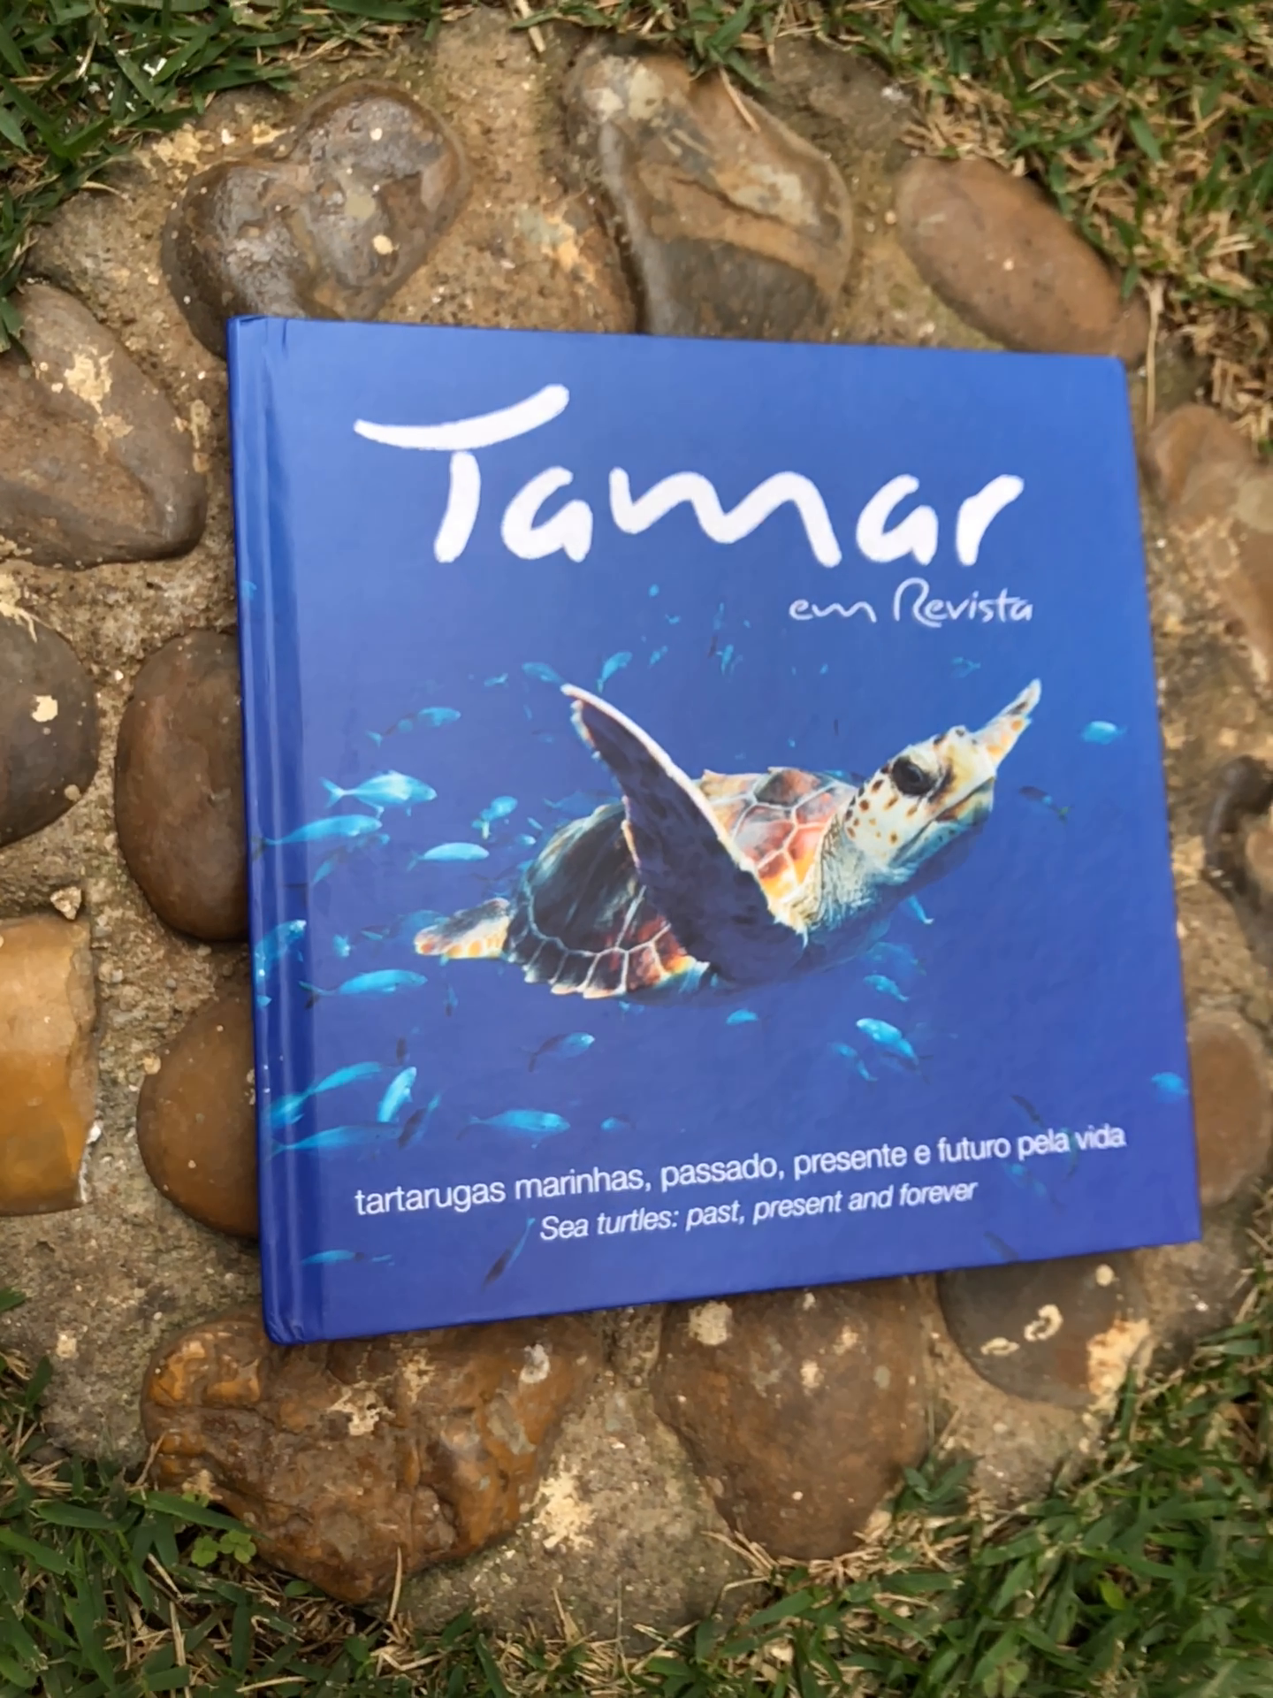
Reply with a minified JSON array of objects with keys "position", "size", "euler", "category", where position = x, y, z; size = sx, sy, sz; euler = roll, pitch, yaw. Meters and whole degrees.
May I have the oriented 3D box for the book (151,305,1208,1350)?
[{"position":[0.010,-0.007,0.255],"size":[0.179,0.020,0.166],"euler":[-2,85,-12],"category":"book"}]
